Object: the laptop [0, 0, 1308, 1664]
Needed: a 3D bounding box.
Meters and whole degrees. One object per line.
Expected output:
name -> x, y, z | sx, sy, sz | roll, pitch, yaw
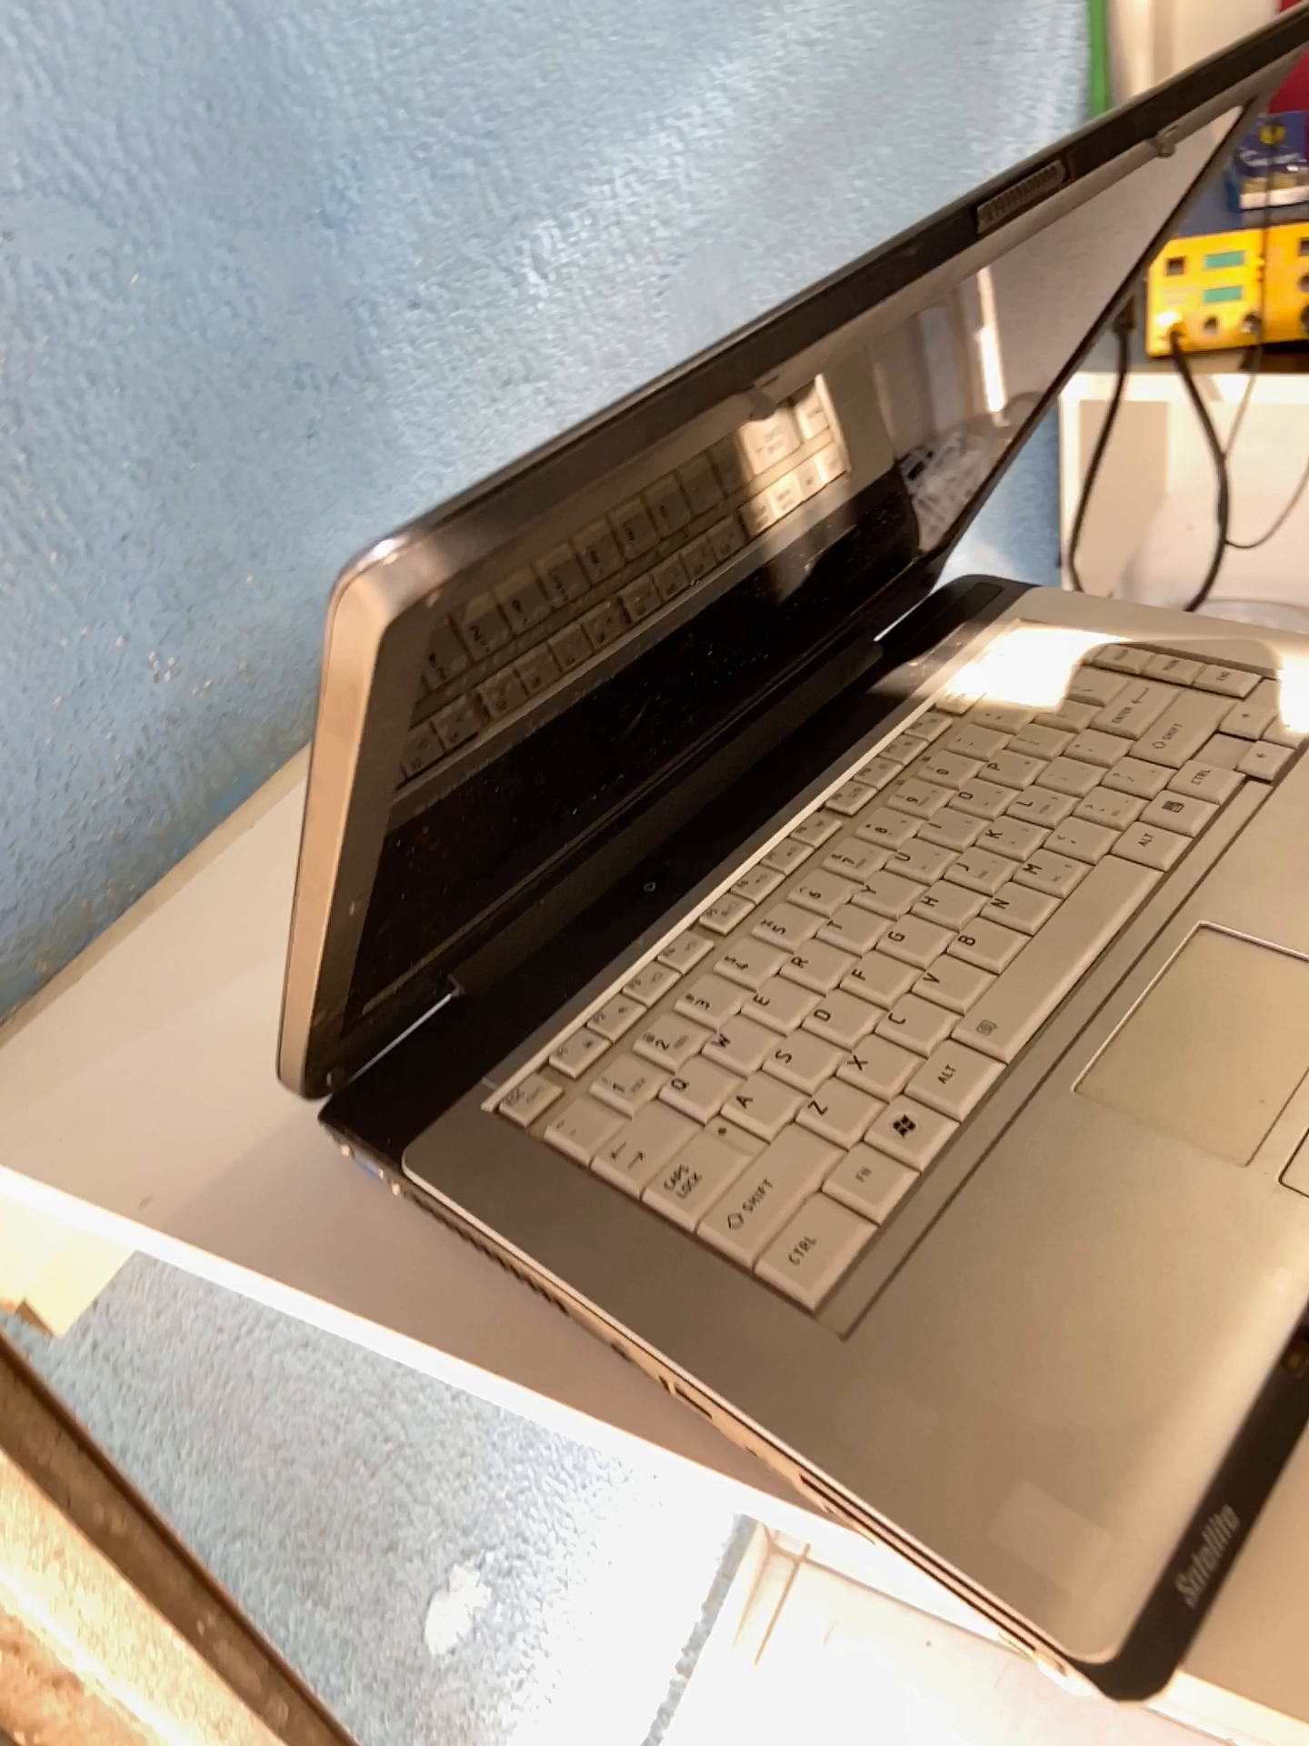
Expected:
laptop -> 0.088, -0.068, 0.352 | 0.246, 0.202, 0.352 | 22, 50, 38
